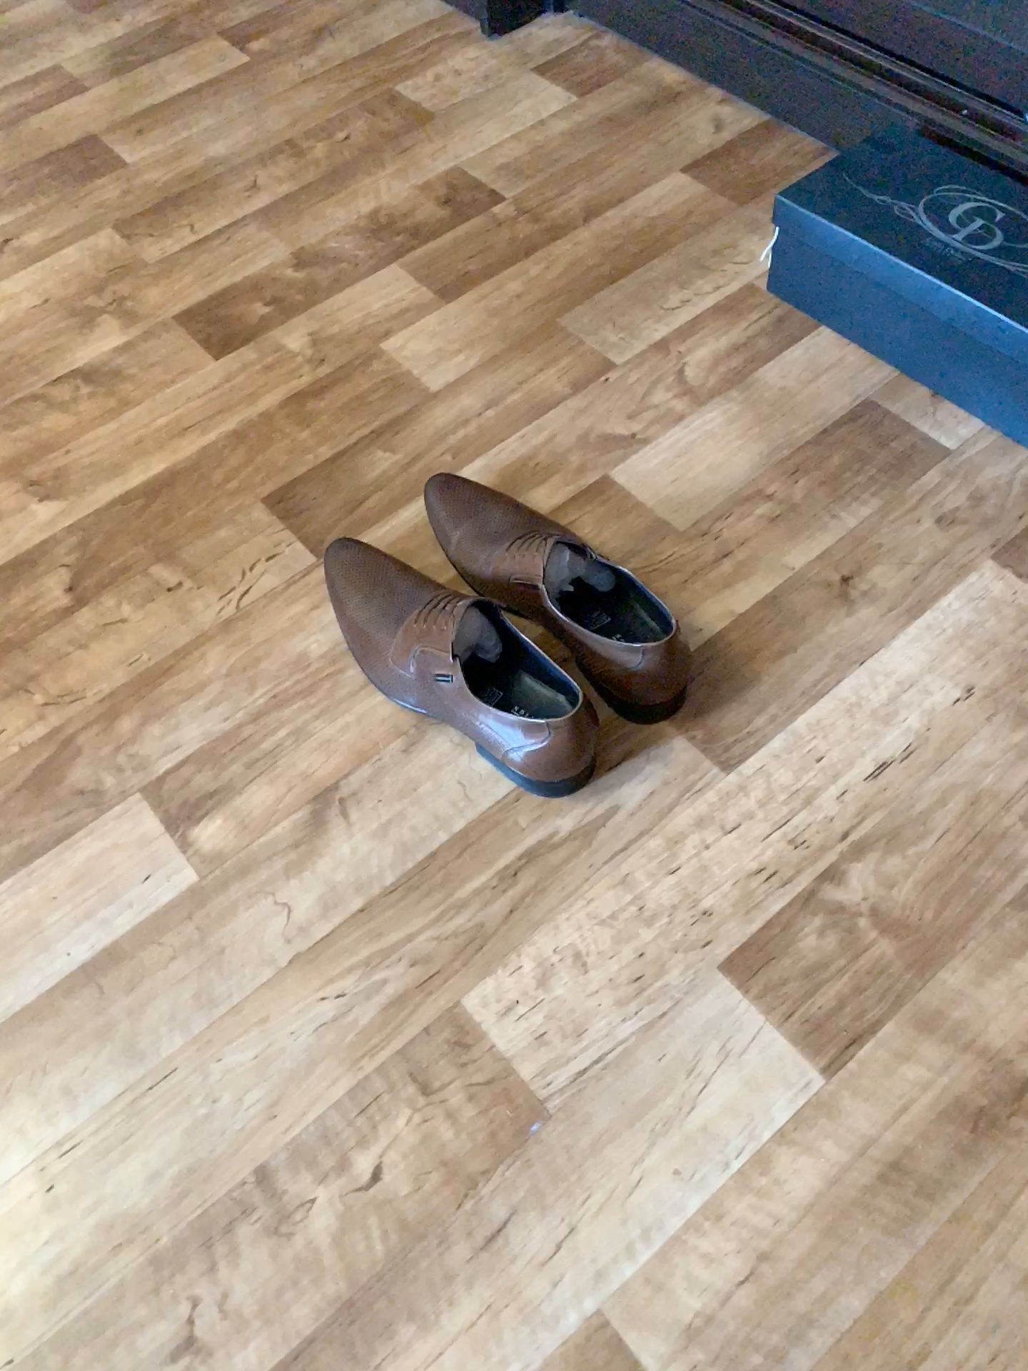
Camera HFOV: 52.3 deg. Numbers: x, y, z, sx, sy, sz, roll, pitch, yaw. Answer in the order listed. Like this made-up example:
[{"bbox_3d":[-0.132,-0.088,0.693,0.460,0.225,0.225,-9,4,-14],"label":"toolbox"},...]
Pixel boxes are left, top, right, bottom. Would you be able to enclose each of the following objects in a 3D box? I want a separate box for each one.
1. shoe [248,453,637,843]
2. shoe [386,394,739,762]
[{"bbox_3d":[-0.058,-0.037,0.807,0.110,0.100,0.311,-40,63,-18],"label":"shoe"},{"bbox_3d":[0.033,-0.094,0.858,0.100,0.120,0.301,-37,62,-17],"label":"shoe"}]
